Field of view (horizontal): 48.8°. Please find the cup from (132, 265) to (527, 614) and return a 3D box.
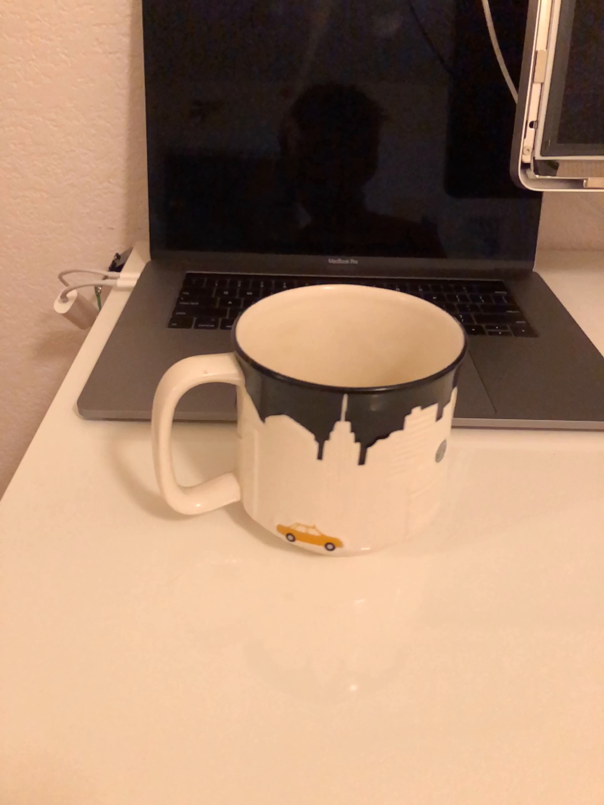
[{"bbox_3d":[0.005,0.010,0.323,0.150,0.109,0.101,-8,34,-14],"label":"cup"}]
